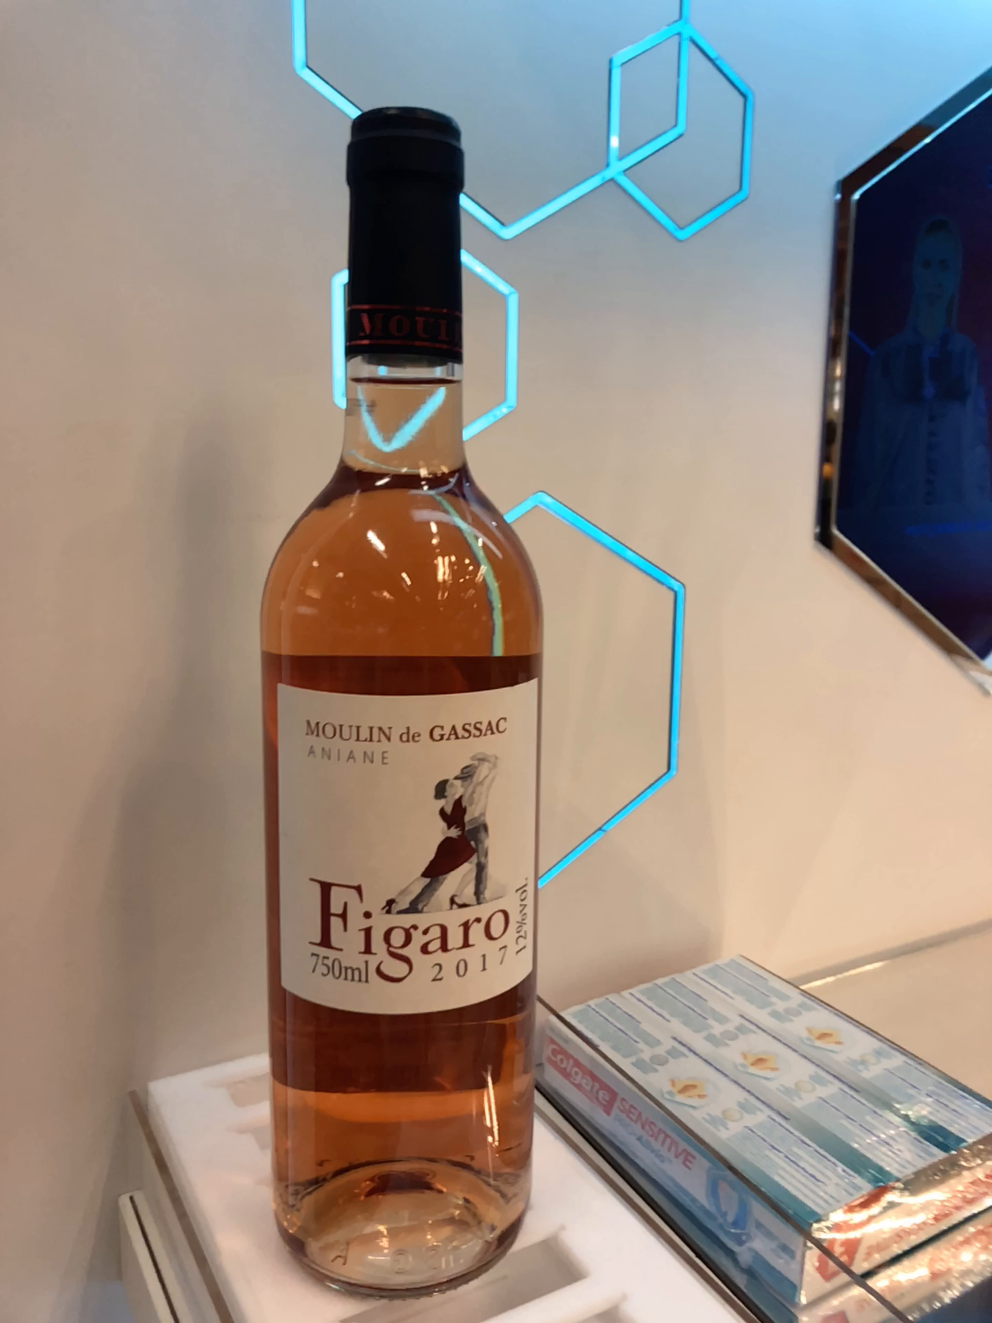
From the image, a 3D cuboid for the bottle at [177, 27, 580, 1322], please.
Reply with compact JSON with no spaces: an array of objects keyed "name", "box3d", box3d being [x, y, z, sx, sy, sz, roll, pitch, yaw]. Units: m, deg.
[{"name":"bottle","box3d":[-0.034,0.012,0.310,0.090,0.319,0.080,-1,9,-10]}]
